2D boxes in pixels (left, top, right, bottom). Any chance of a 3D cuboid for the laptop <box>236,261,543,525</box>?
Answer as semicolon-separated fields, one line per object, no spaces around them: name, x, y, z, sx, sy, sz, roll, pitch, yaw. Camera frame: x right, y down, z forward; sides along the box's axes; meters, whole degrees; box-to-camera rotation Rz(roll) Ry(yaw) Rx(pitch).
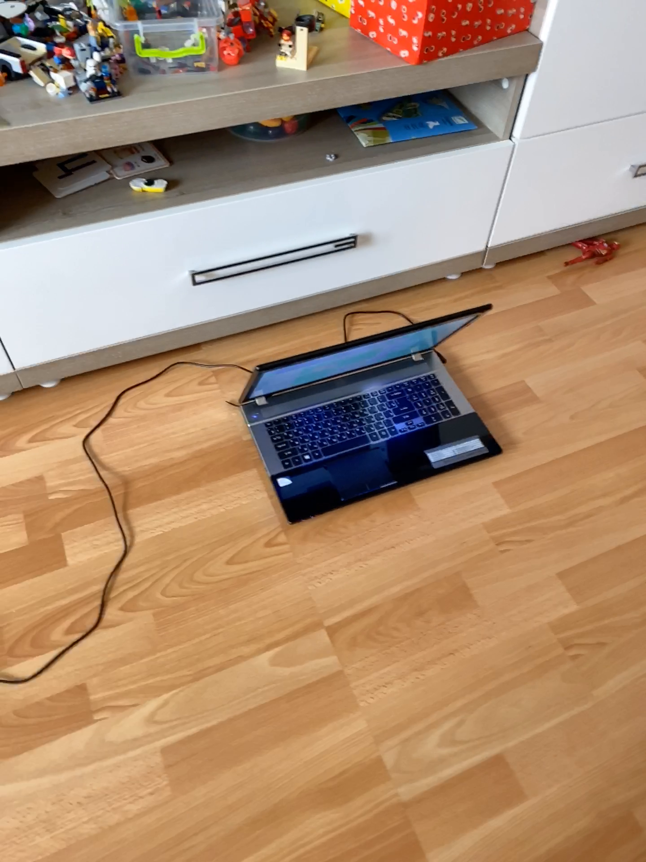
laptop;0.094;-0.073;1.120;0.412;0.233;0.269;-16;53;-15
